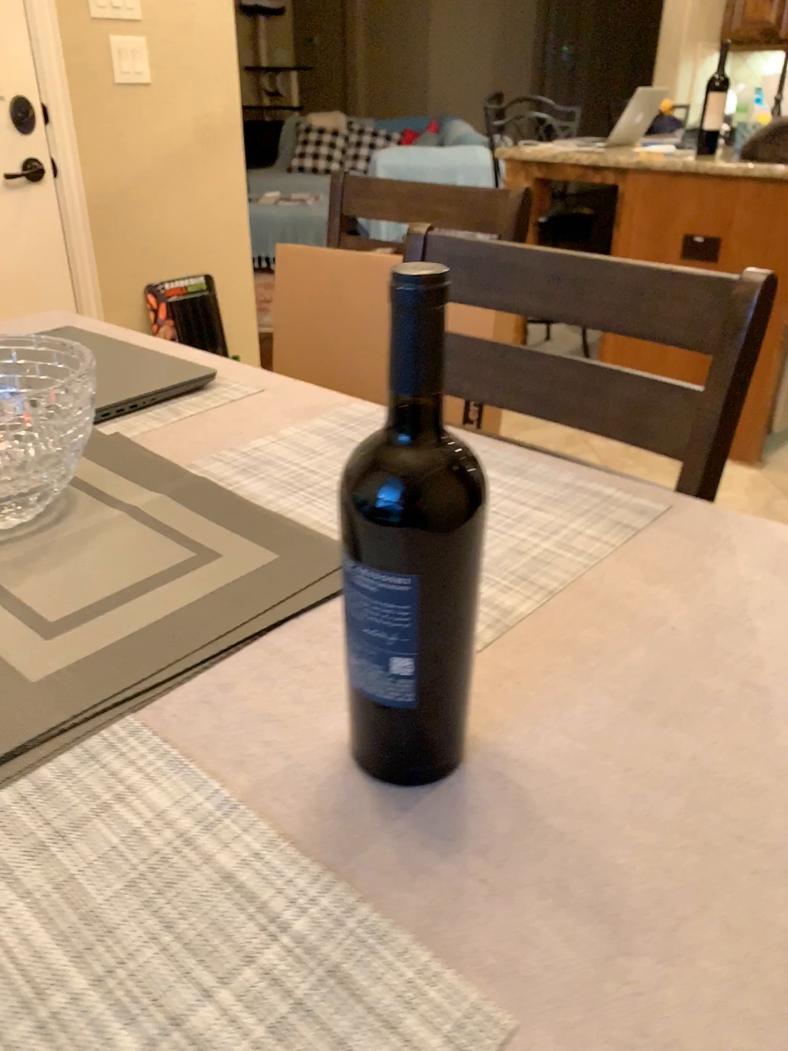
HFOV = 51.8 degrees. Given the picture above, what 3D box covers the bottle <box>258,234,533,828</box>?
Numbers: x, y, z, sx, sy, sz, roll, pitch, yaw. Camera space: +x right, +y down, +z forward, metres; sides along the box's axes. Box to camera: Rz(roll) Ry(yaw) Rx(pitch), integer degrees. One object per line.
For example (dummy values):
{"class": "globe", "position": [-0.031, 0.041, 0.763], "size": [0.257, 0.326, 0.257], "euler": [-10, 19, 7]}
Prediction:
{"class": "bottle", "position": [0.001, 0.008, 0.443], "size": [0.090, 0.298, 0.090], "euler": [0, 28, 0]}
